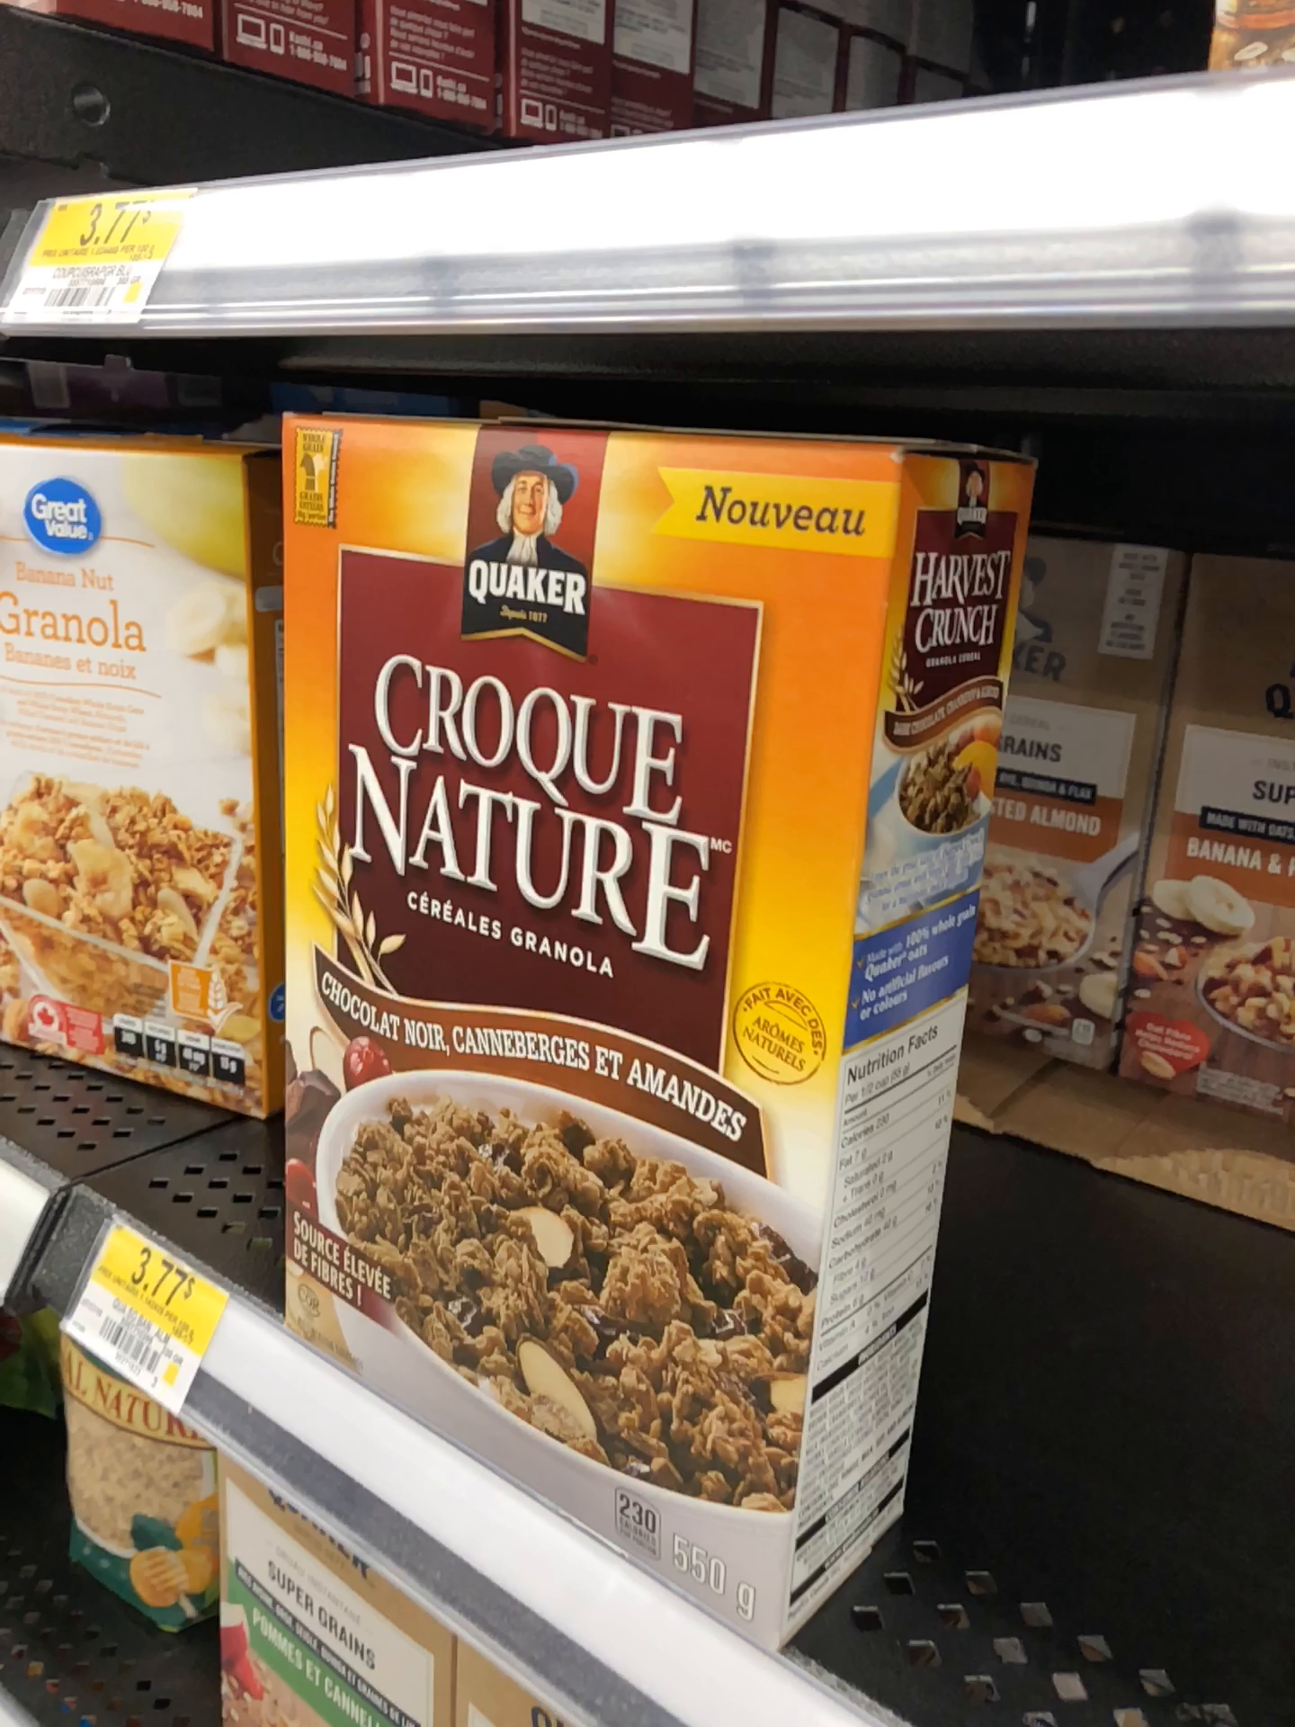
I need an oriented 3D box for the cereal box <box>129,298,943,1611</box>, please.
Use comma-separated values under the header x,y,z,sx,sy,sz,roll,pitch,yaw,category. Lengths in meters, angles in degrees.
x,y,z,sx,sy,sz,roll,pitch,yaw,category
-0.036,0.006,0.307,0.170,0.229,0.050,16,20,38,cereal box
